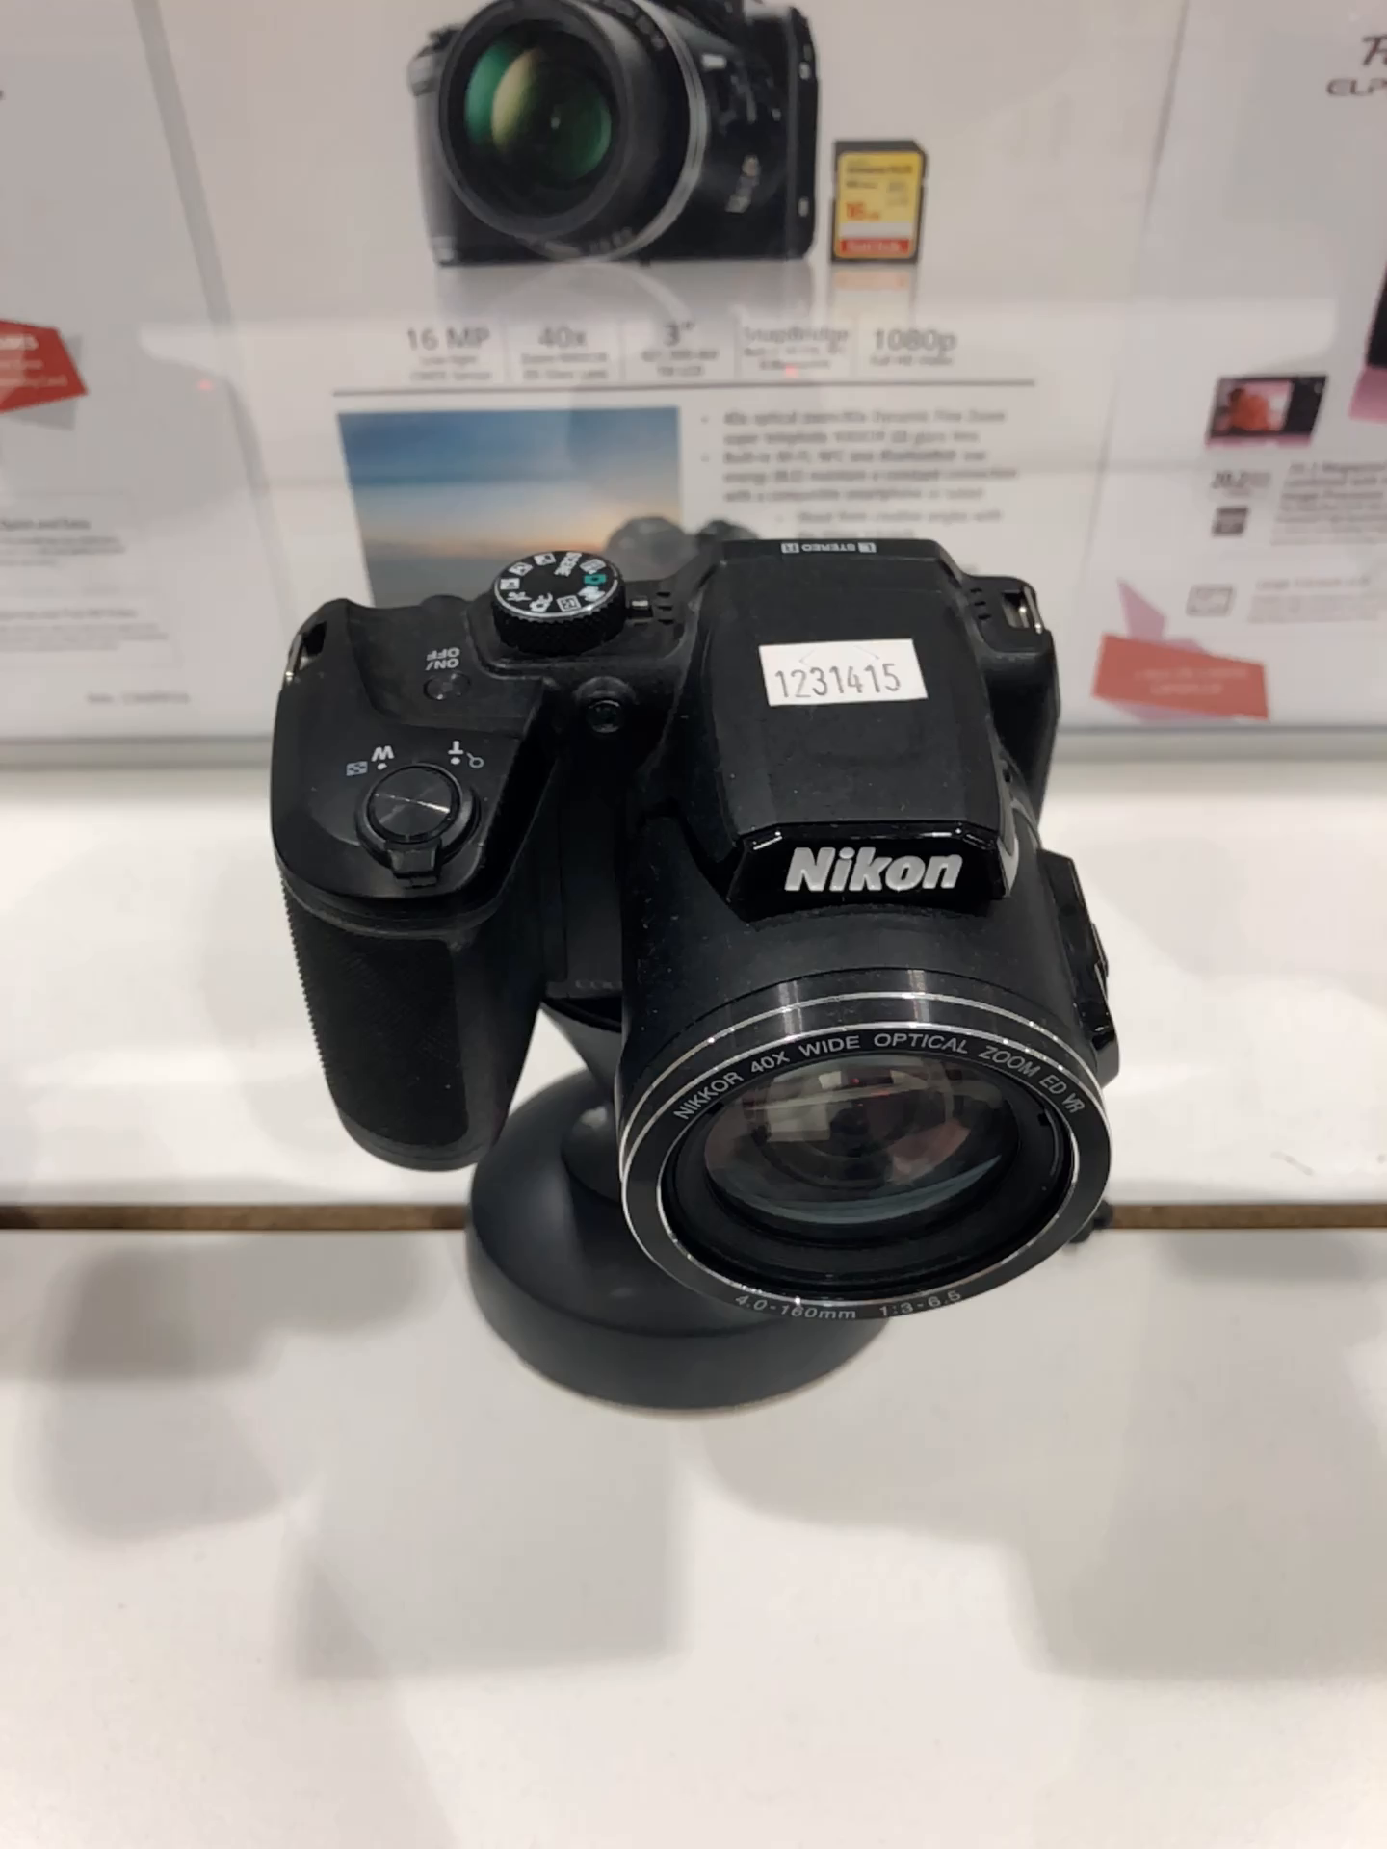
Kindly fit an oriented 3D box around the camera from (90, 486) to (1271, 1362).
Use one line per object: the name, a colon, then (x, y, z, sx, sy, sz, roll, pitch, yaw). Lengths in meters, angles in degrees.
camera: (-0.001, -0.003, 0.219, 0.120, 0.070, 0.100, -1, 45, 0)
